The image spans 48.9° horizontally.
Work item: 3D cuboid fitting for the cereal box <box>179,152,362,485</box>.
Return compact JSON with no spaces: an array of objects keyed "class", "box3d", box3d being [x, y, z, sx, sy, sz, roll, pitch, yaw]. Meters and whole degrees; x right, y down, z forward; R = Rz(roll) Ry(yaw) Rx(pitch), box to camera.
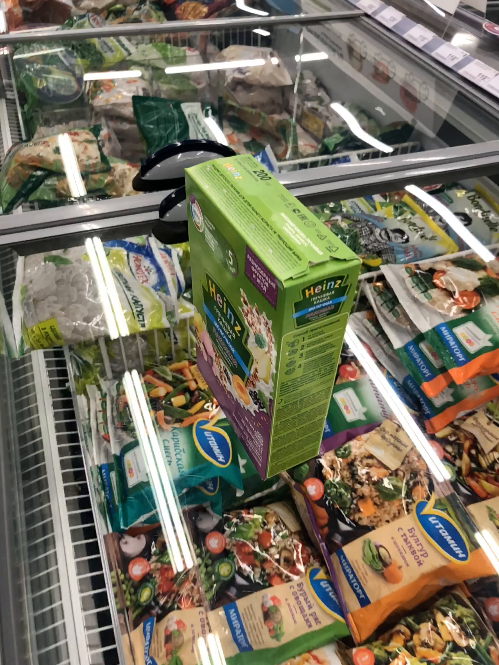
[{"class":"cereal box","box3d":[0.003,-0.003,0.394,0.050,0.199,0.131,-19,50,-21]}]
